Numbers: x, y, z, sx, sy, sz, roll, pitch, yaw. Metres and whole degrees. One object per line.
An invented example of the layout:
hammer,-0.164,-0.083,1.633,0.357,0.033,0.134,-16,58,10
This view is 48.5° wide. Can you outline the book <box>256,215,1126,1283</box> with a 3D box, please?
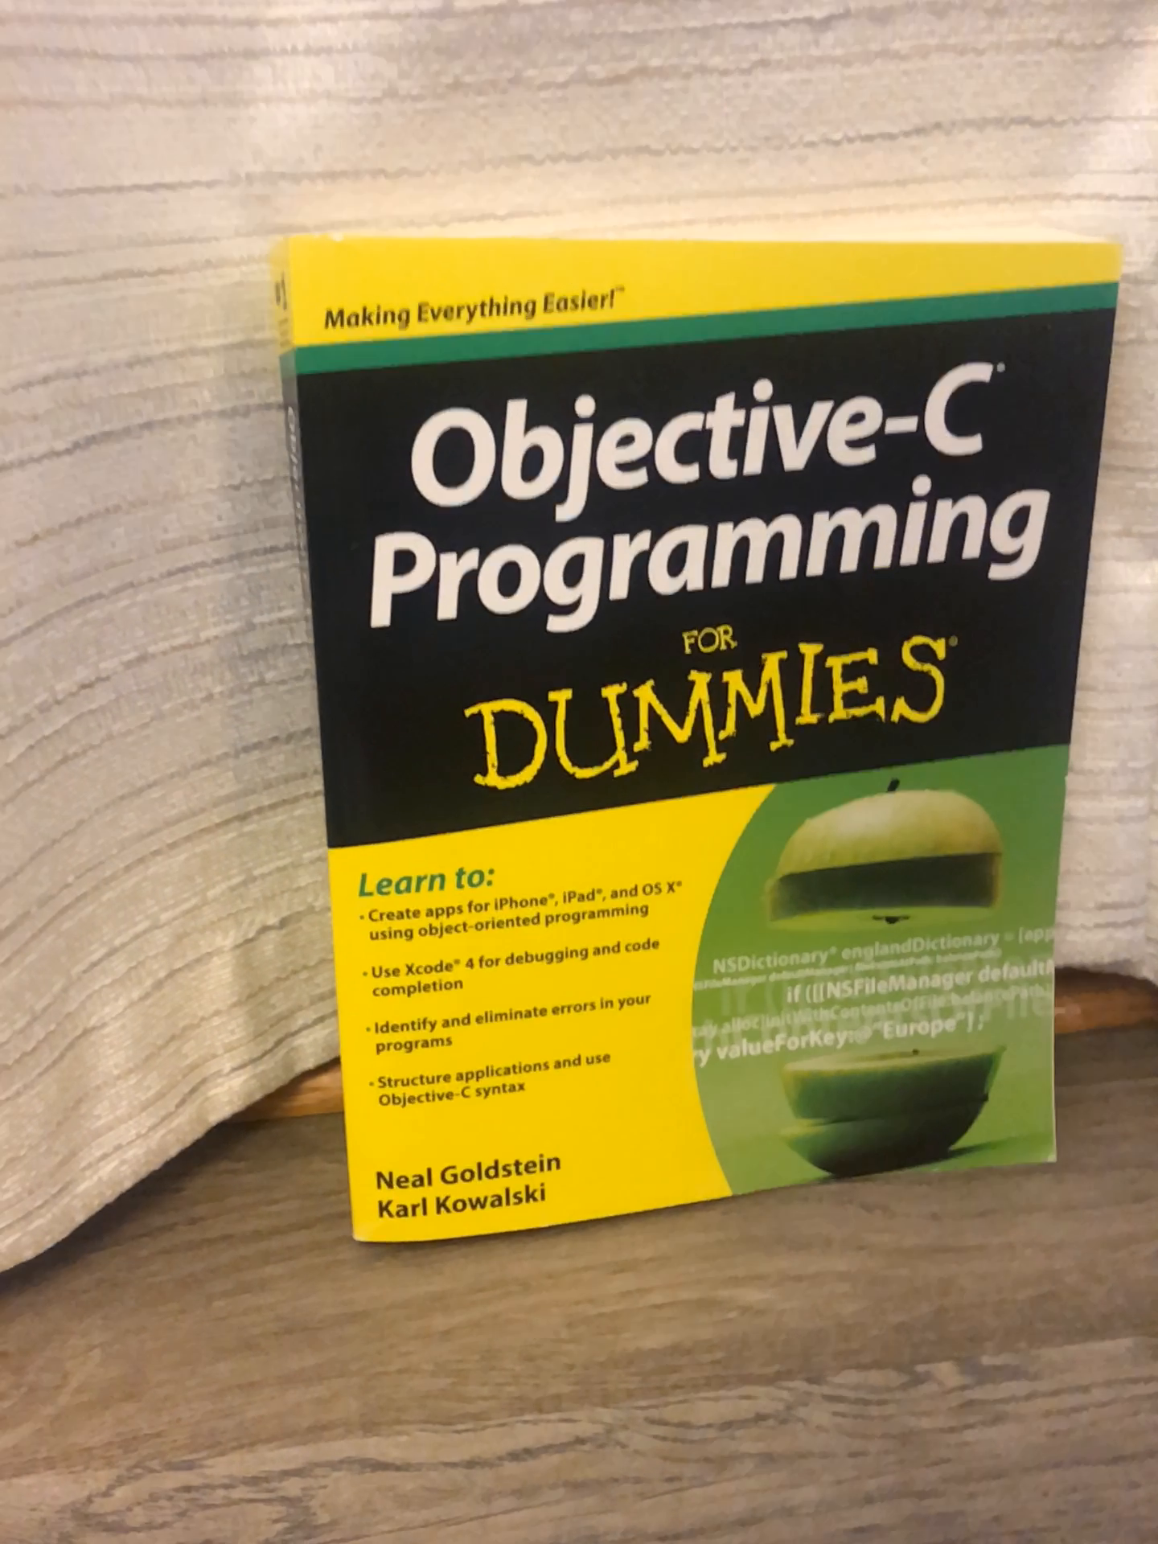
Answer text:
book,0.030,-0.005,0.305,0.184,0.230,0.033,-5,14,-10
